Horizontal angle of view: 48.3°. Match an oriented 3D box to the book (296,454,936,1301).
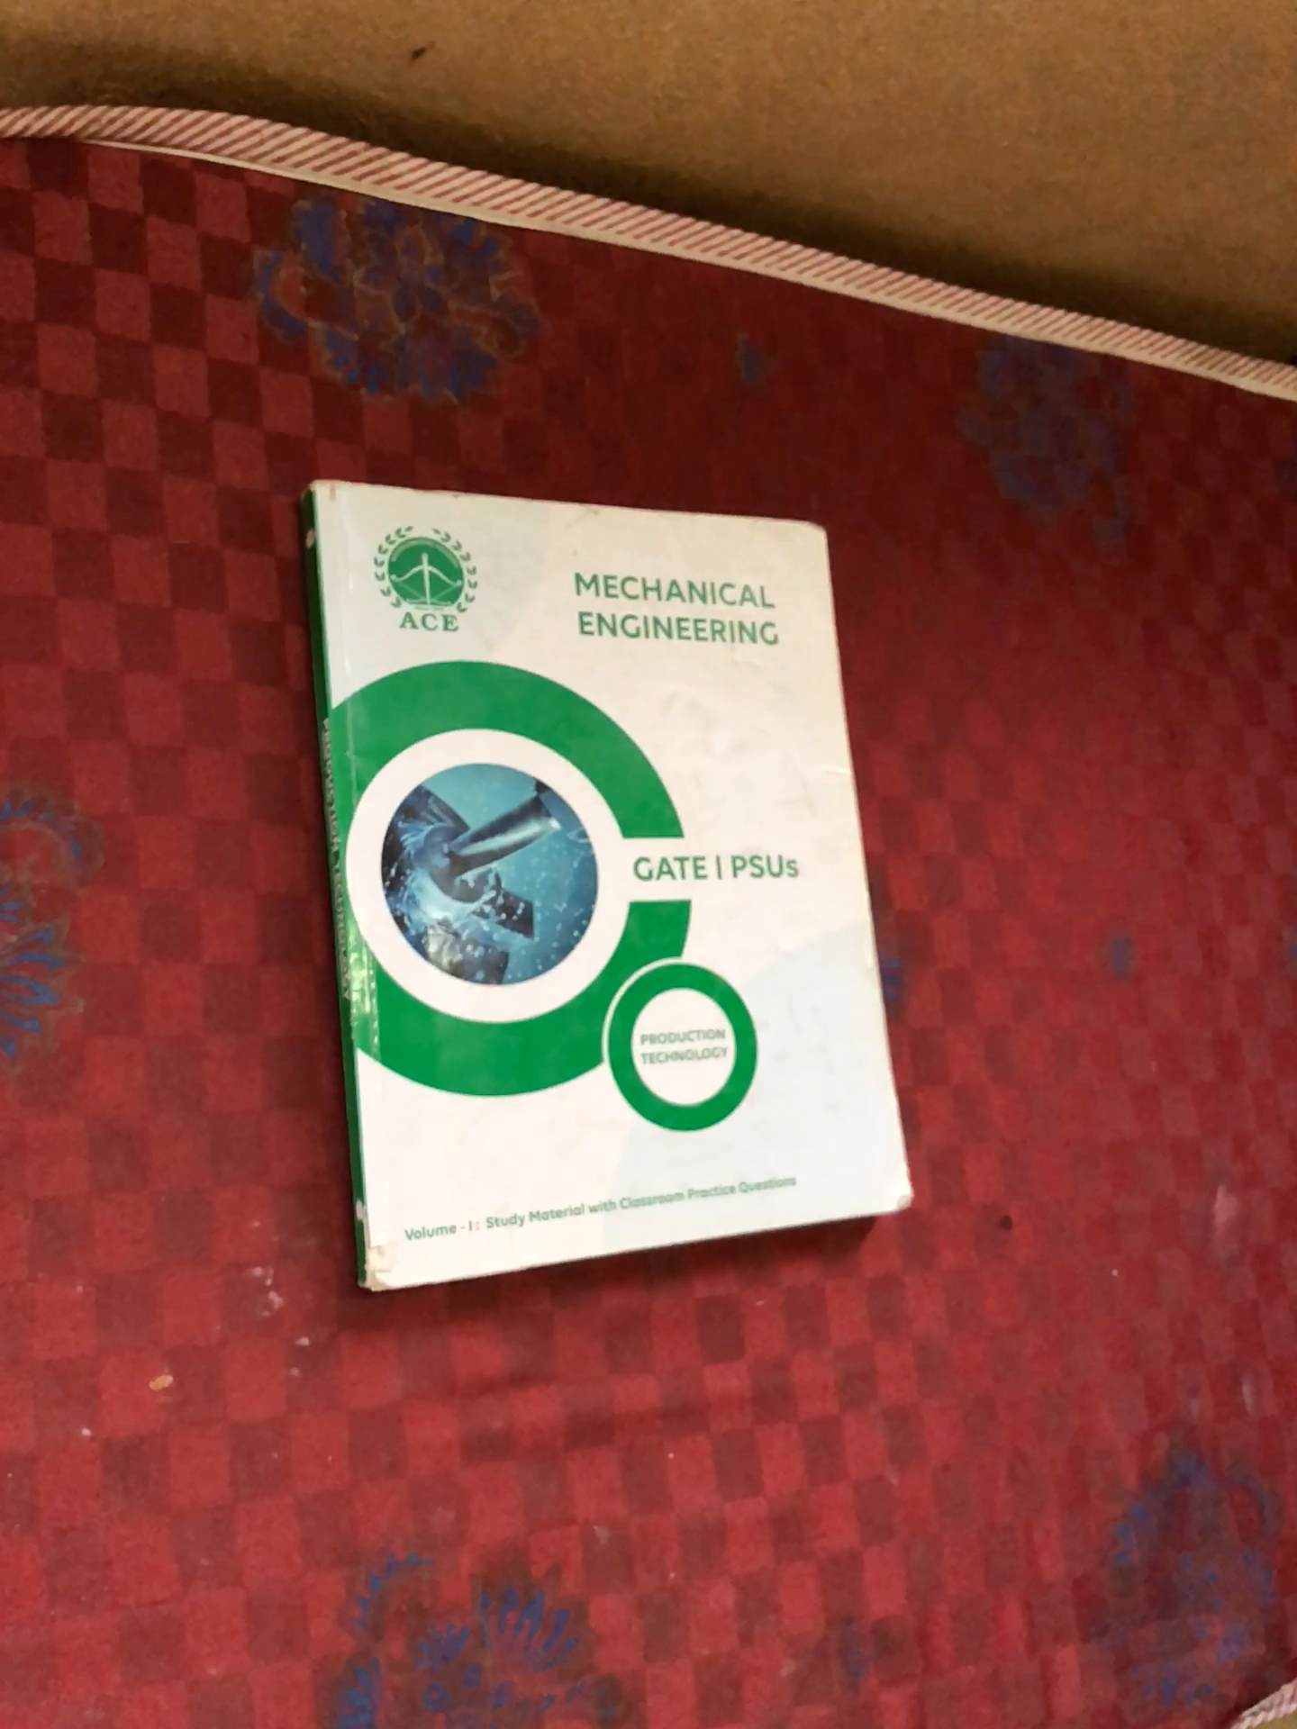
[{"bbox_3d":[-0.010,-0.002,0.527,0.211,0.030,0.280,-2,79,-26],"label":"book"}]
